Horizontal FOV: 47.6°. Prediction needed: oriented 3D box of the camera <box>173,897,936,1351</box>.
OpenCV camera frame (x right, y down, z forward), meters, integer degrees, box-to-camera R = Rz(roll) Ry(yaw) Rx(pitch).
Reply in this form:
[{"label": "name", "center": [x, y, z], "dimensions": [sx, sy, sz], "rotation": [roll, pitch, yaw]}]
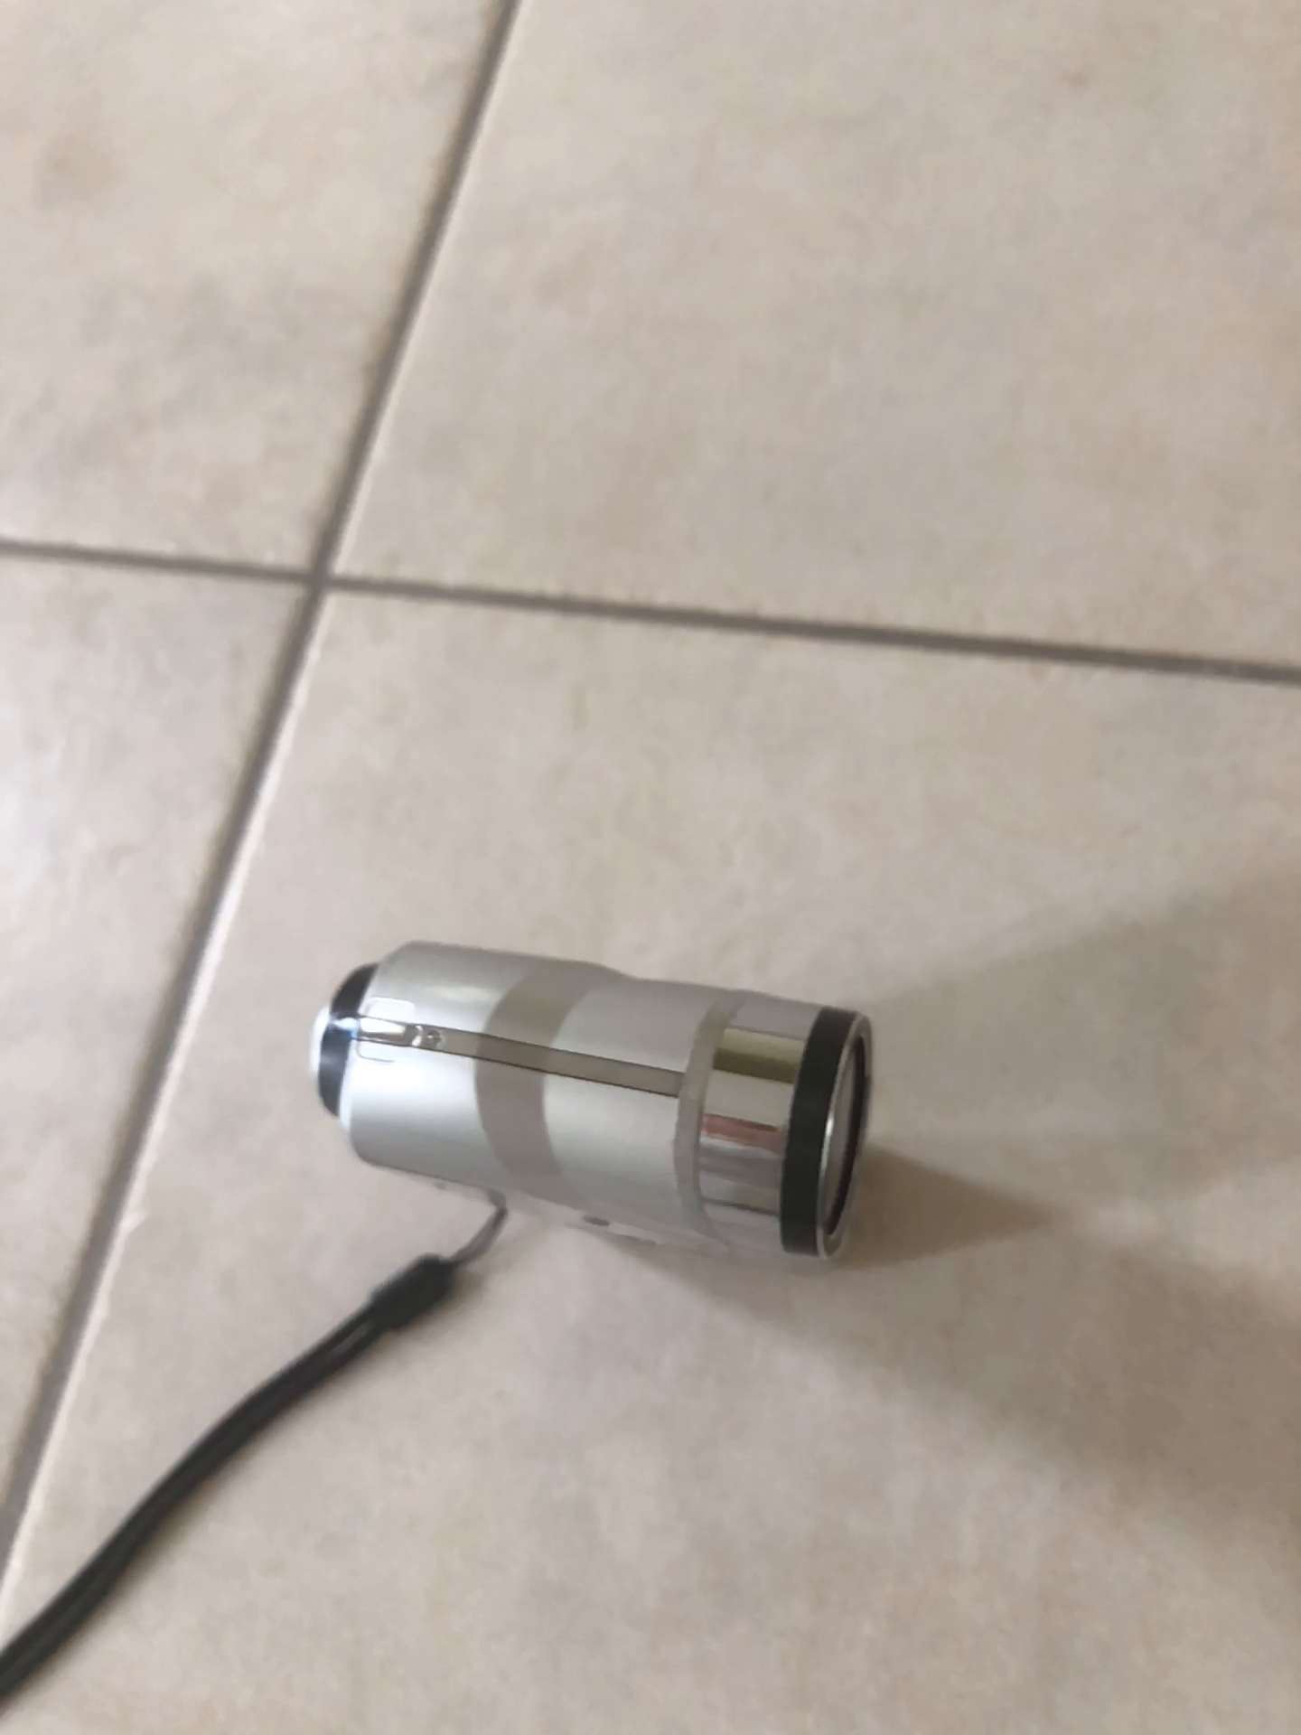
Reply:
[{"label": "camera", "center": [-0.003, 0.044, 0.225], "dimensions": [0.080, 0.110, 0.040], "rotation": [6, 73, 17]}]
